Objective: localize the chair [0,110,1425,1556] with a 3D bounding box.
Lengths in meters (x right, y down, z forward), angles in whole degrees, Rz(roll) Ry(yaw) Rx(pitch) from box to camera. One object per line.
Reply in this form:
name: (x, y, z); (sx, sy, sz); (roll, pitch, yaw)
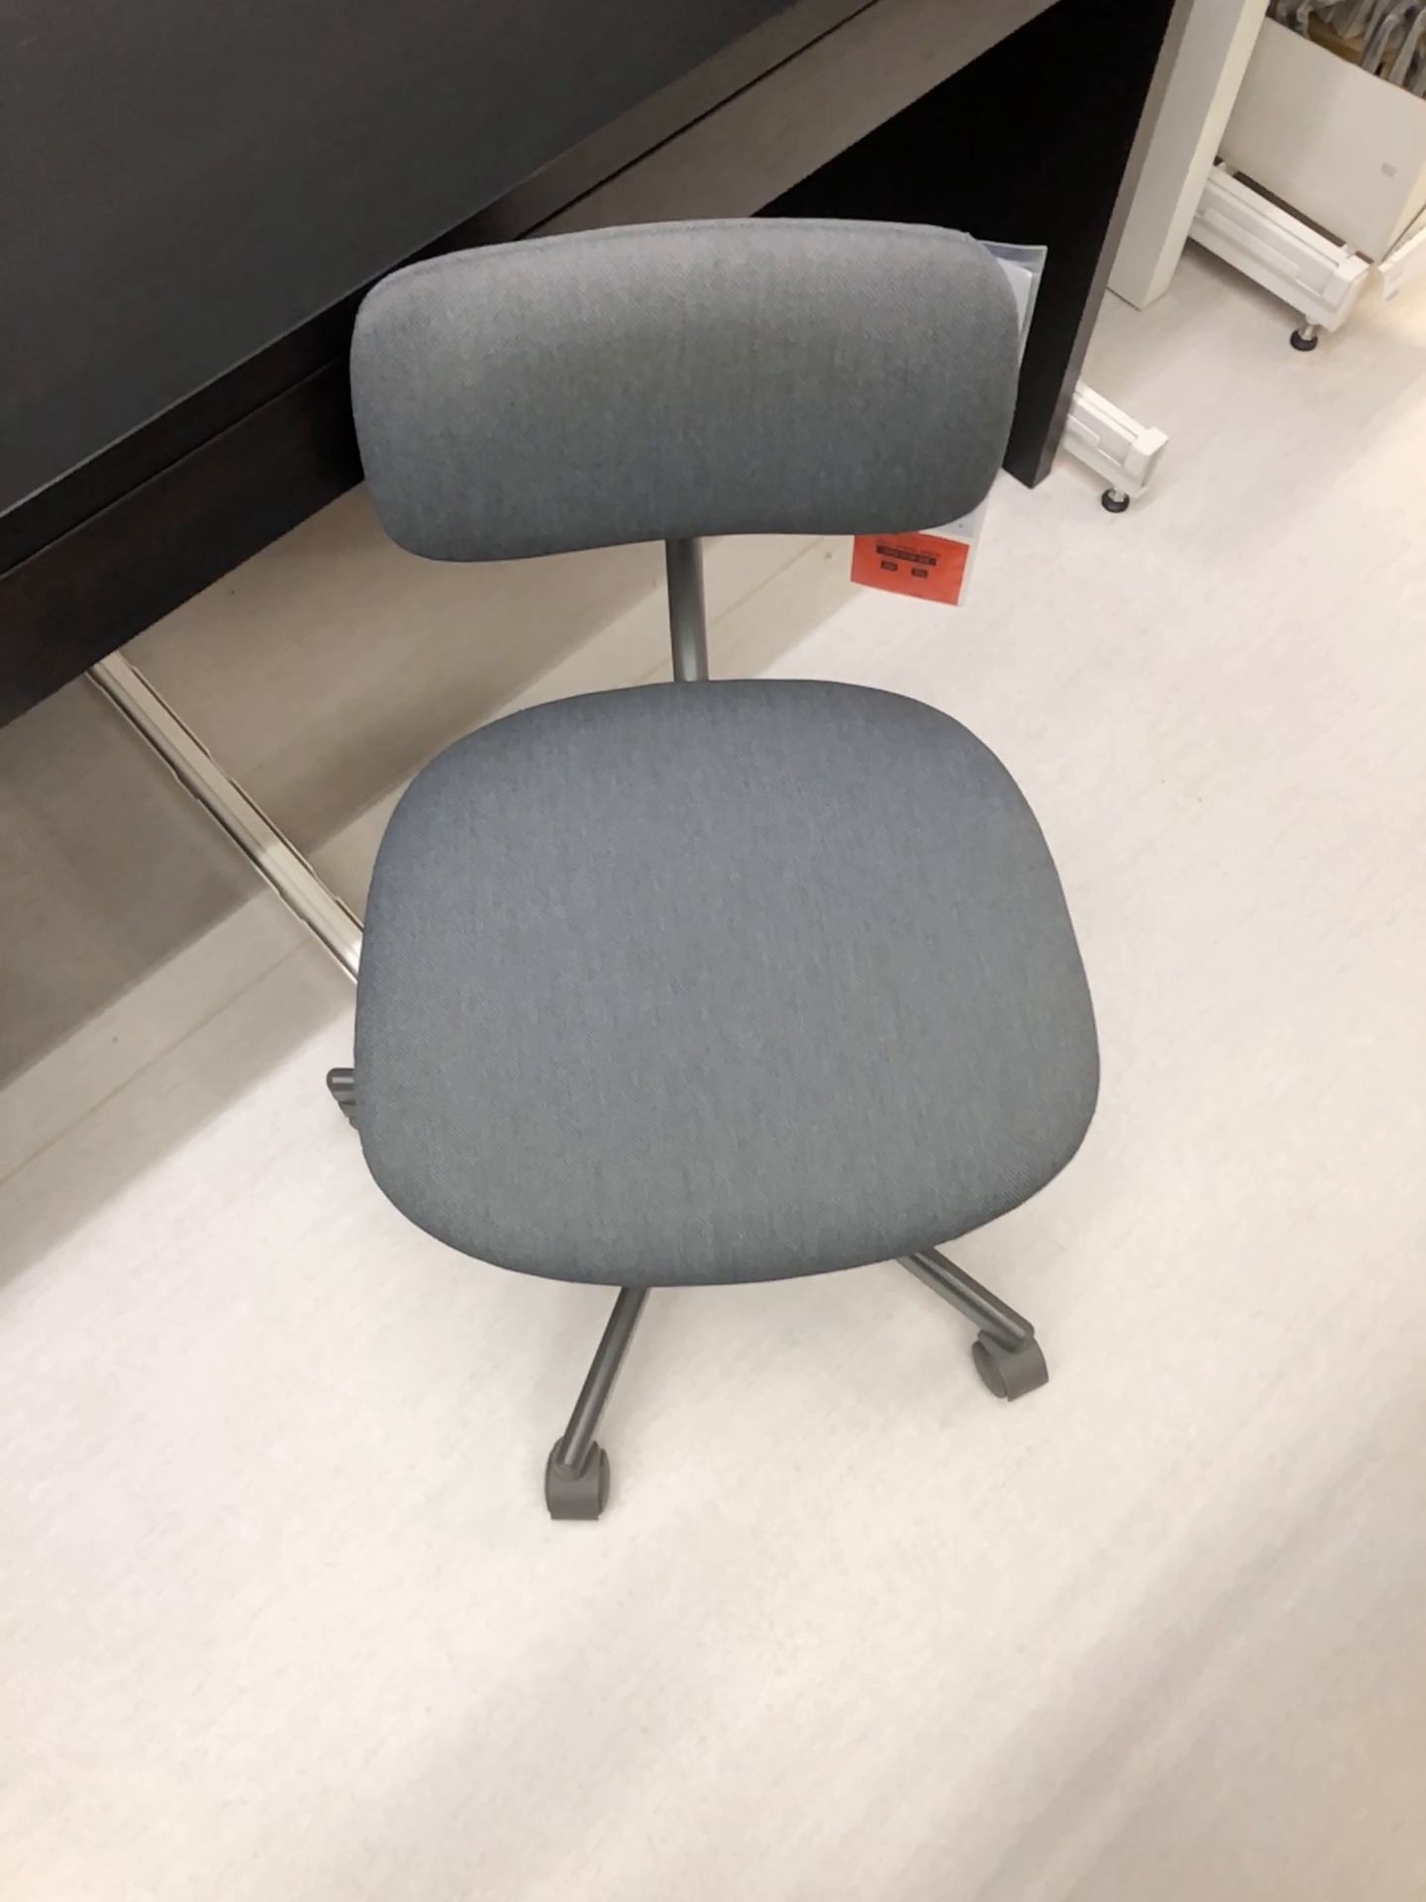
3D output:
chair: (0.000, 0.003, 0.968); (0.620, 0.678, 0.592); (-5, 65, -3)
